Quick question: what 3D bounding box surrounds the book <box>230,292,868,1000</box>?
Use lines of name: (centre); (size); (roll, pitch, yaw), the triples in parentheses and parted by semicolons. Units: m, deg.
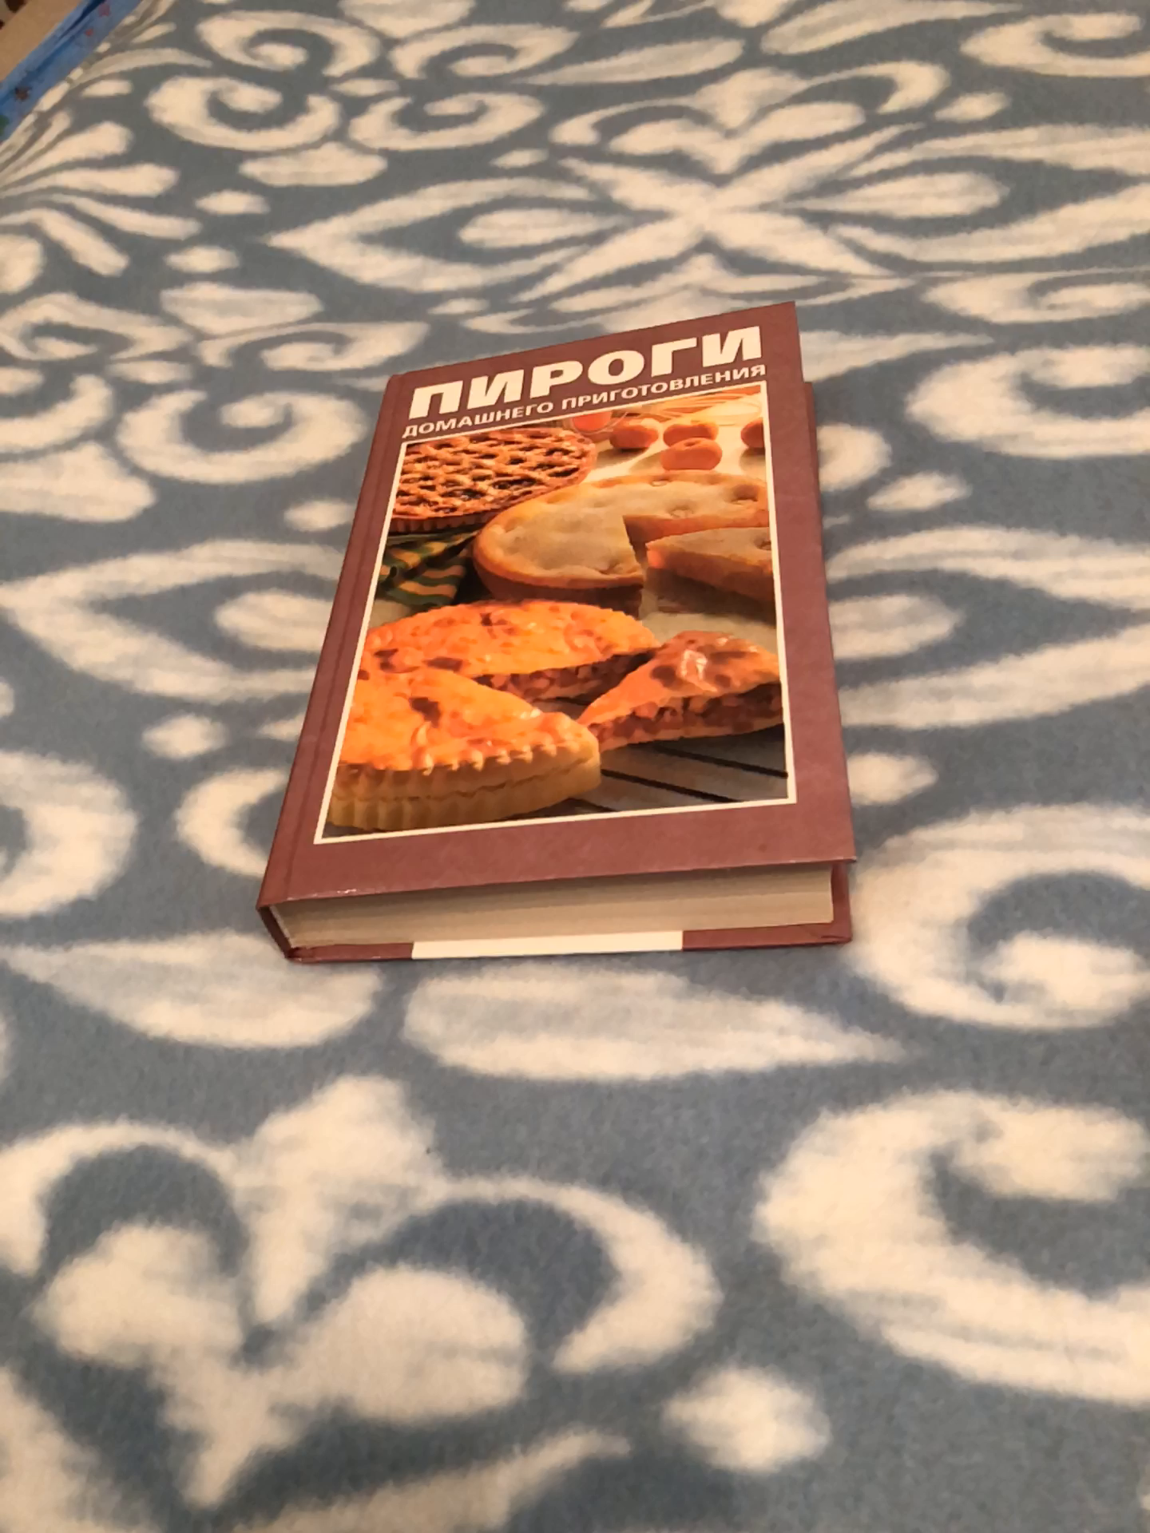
book: (0.000, -0.042, 0.335); (0.131, 0.040, 0.202); (-6, 50, 12)
